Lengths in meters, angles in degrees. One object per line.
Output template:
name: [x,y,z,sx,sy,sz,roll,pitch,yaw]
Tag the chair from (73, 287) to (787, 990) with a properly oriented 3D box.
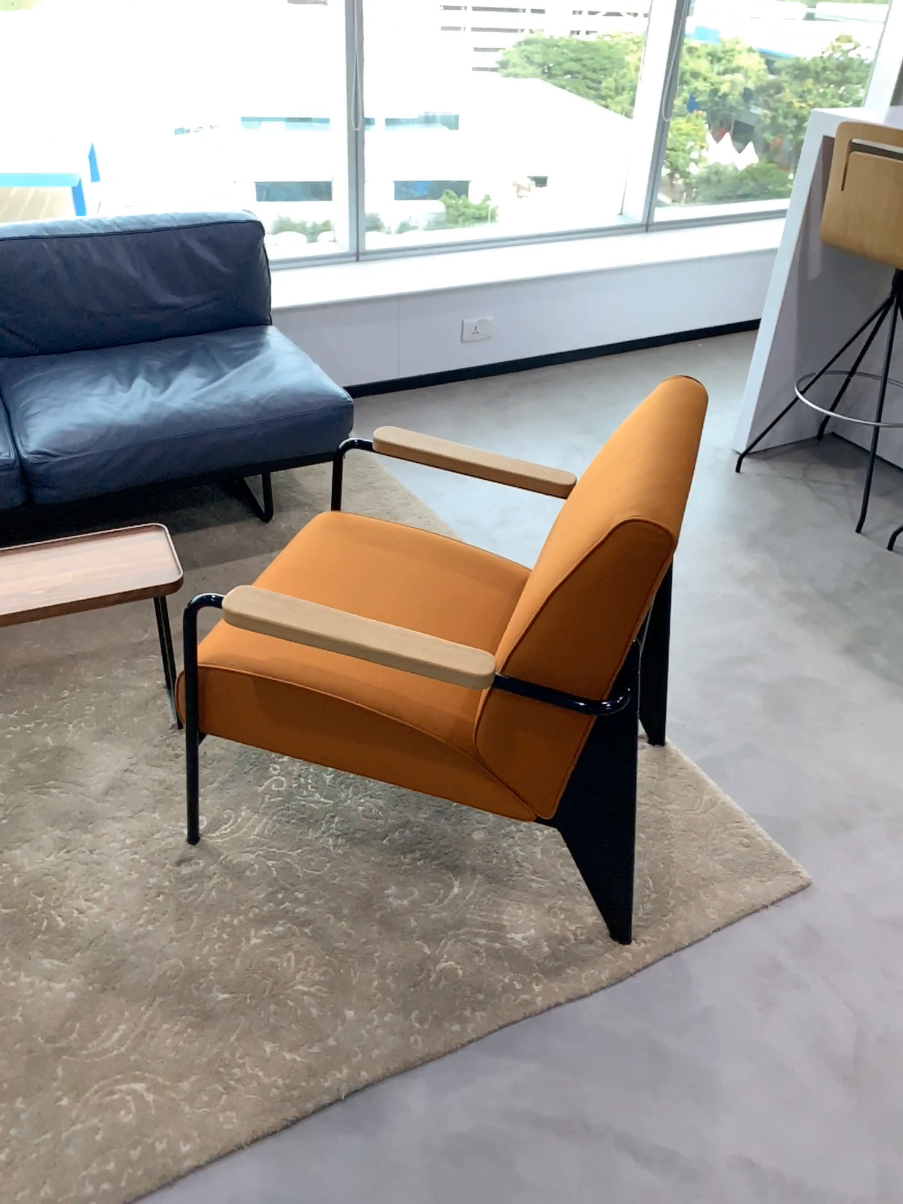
chair: [0.023,-0.006,1.571,0.861,0.734,0.735,13,36,14]
